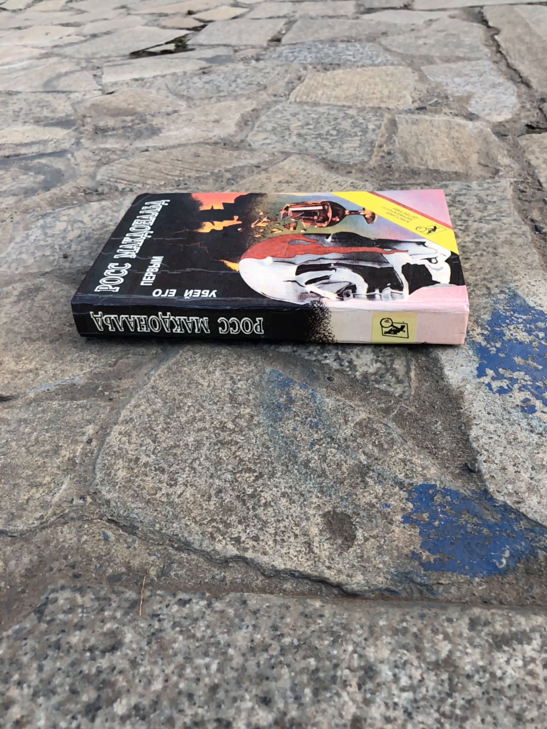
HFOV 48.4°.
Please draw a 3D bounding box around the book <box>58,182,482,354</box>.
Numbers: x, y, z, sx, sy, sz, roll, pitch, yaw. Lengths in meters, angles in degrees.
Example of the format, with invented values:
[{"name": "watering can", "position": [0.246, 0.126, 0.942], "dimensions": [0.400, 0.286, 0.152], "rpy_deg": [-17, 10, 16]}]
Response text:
[{"name": "book", "position": [0.002, -0.064, 0.362], "dimensions": [0.210, 0.030, 0.141], "rpy_deg": [1, 40, 6]}]
